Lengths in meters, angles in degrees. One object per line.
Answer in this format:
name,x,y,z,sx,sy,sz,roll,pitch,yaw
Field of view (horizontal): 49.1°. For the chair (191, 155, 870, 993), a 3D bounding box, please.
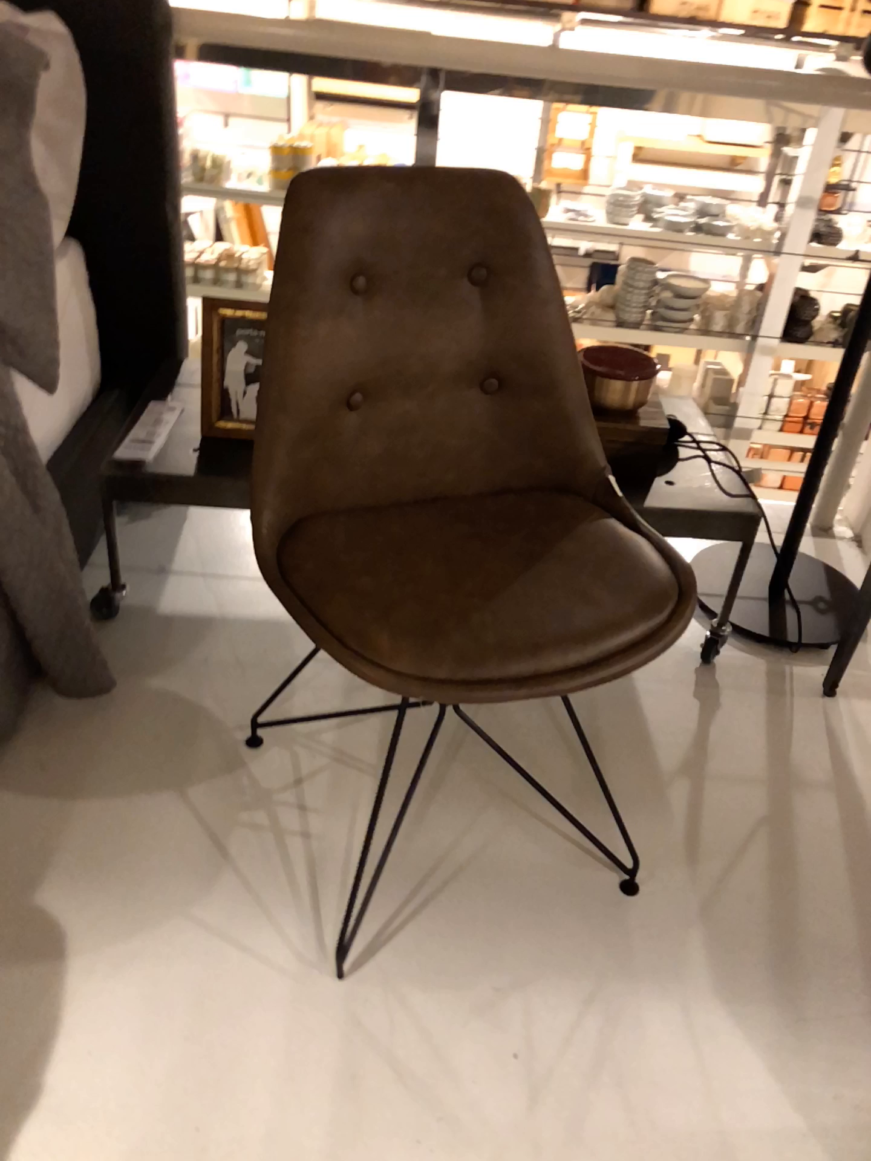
chair,0.028,-0.041,1.145,0.511,0.754,0.554,-8,36,-20
